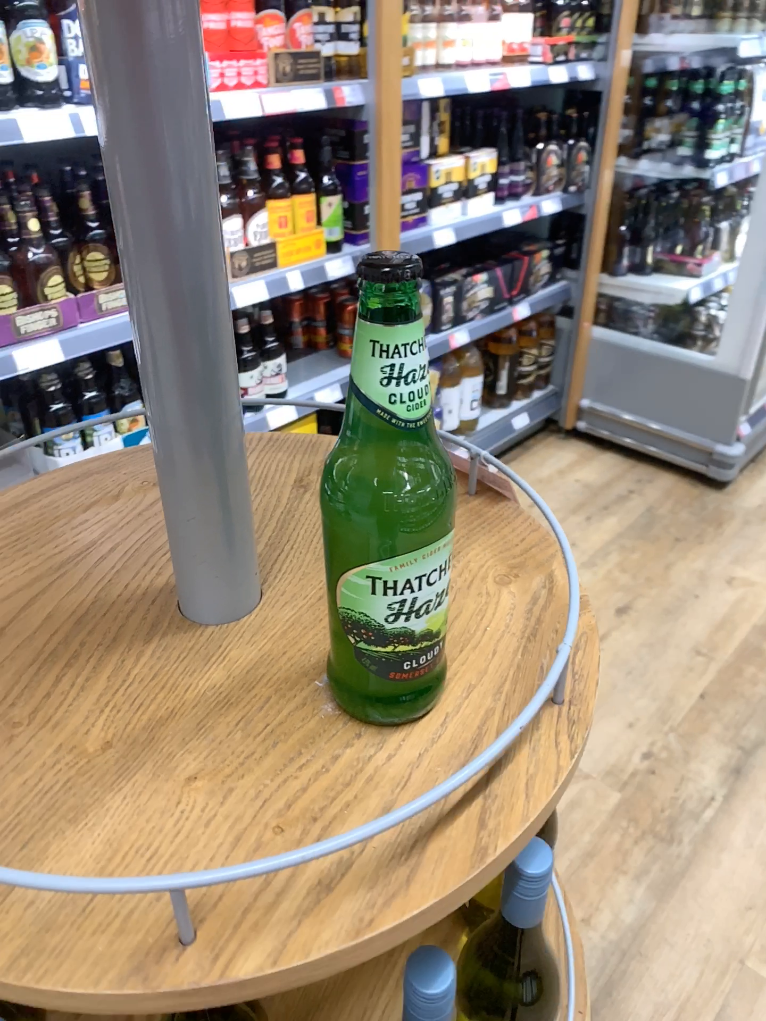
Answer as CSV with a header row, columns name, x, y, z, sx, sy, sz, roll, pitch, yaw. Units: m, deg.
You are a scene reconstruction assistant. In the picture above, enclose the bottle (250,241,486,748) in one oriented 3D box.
name,x,y,z,sx,sy,sz,roll,pitch,yaw
bottle,-0.008,-0.002,0.405,0.070,0.240,0.079,-22,38,-31
